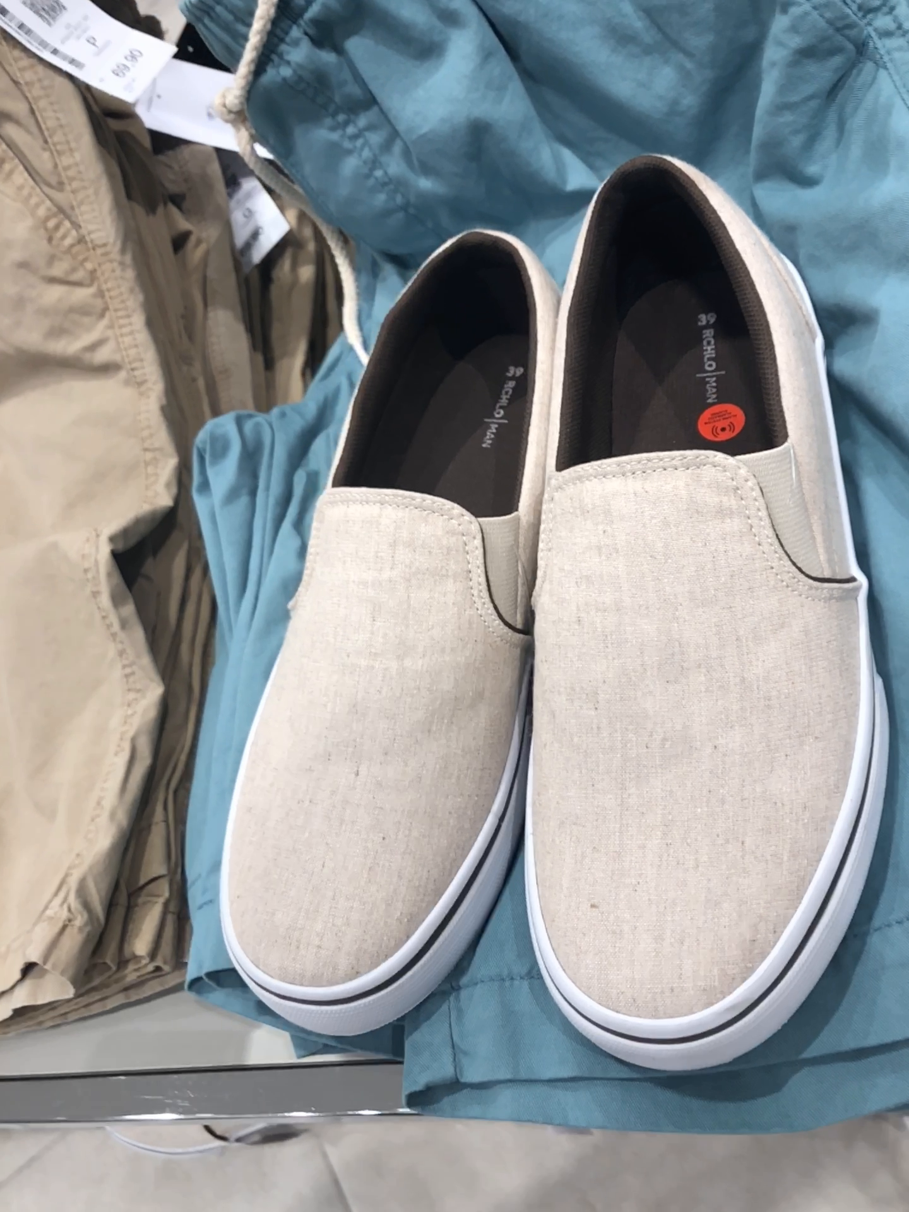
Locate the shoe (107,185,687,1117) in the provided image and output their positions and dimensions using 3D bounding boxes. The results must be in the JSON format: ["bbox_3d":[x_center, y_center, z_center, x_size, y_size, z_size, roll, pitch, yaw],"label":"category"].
[{"bbox_3d":[-0.004,0.007,0.329,0.100,0.090,0.260,4,71,29],"label":"shoe"}]

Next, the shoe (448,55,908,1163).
[{"bbox_3d":[0.075,-0.005,0.281,0.100,0.090,0.261,-4,67,25],"label":"shoe"}]
